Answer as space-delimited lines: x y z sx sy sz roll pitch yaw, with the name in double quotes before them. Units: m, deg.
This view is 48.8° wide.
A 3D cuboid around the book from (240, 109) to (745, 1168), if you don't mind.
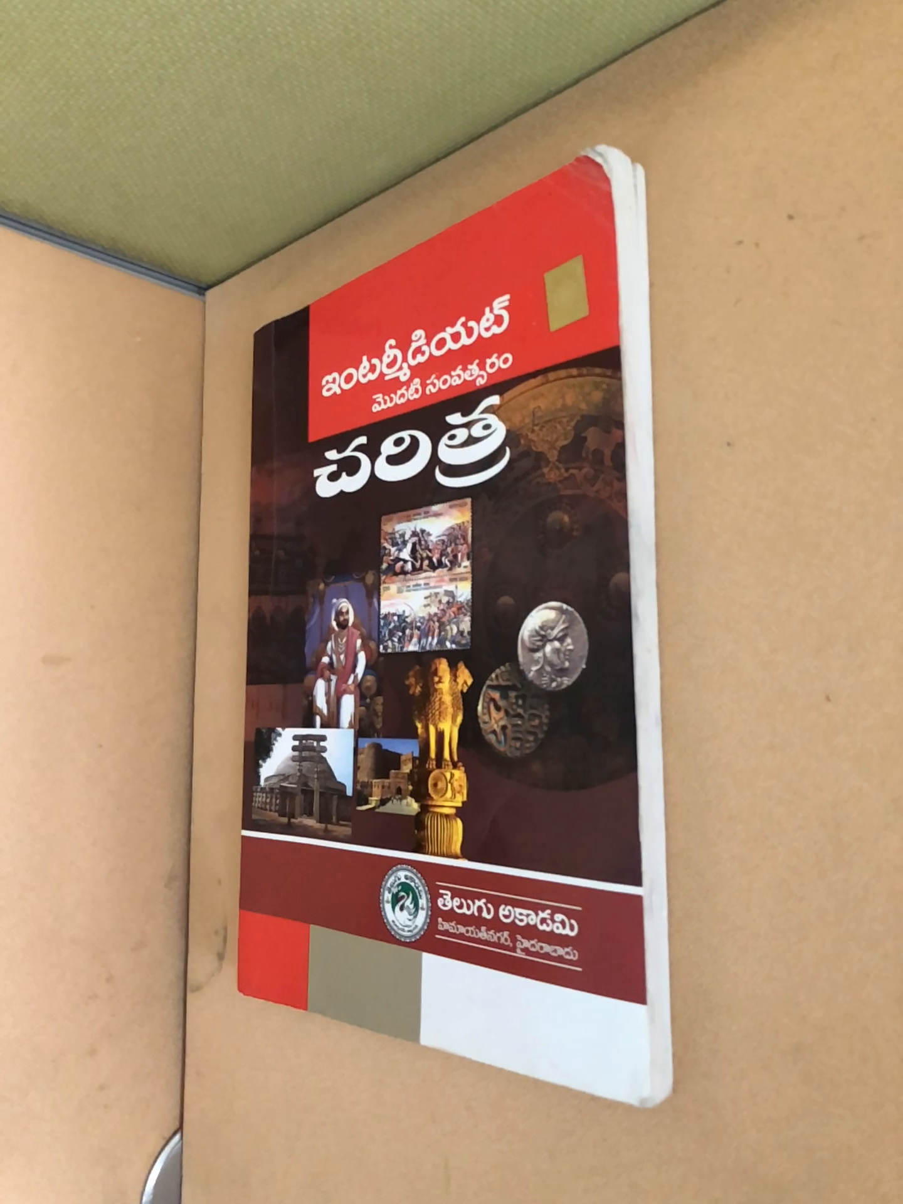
"book" -0.002 0.010 0.352 0.201 0.030 0.290 -9 78 44
